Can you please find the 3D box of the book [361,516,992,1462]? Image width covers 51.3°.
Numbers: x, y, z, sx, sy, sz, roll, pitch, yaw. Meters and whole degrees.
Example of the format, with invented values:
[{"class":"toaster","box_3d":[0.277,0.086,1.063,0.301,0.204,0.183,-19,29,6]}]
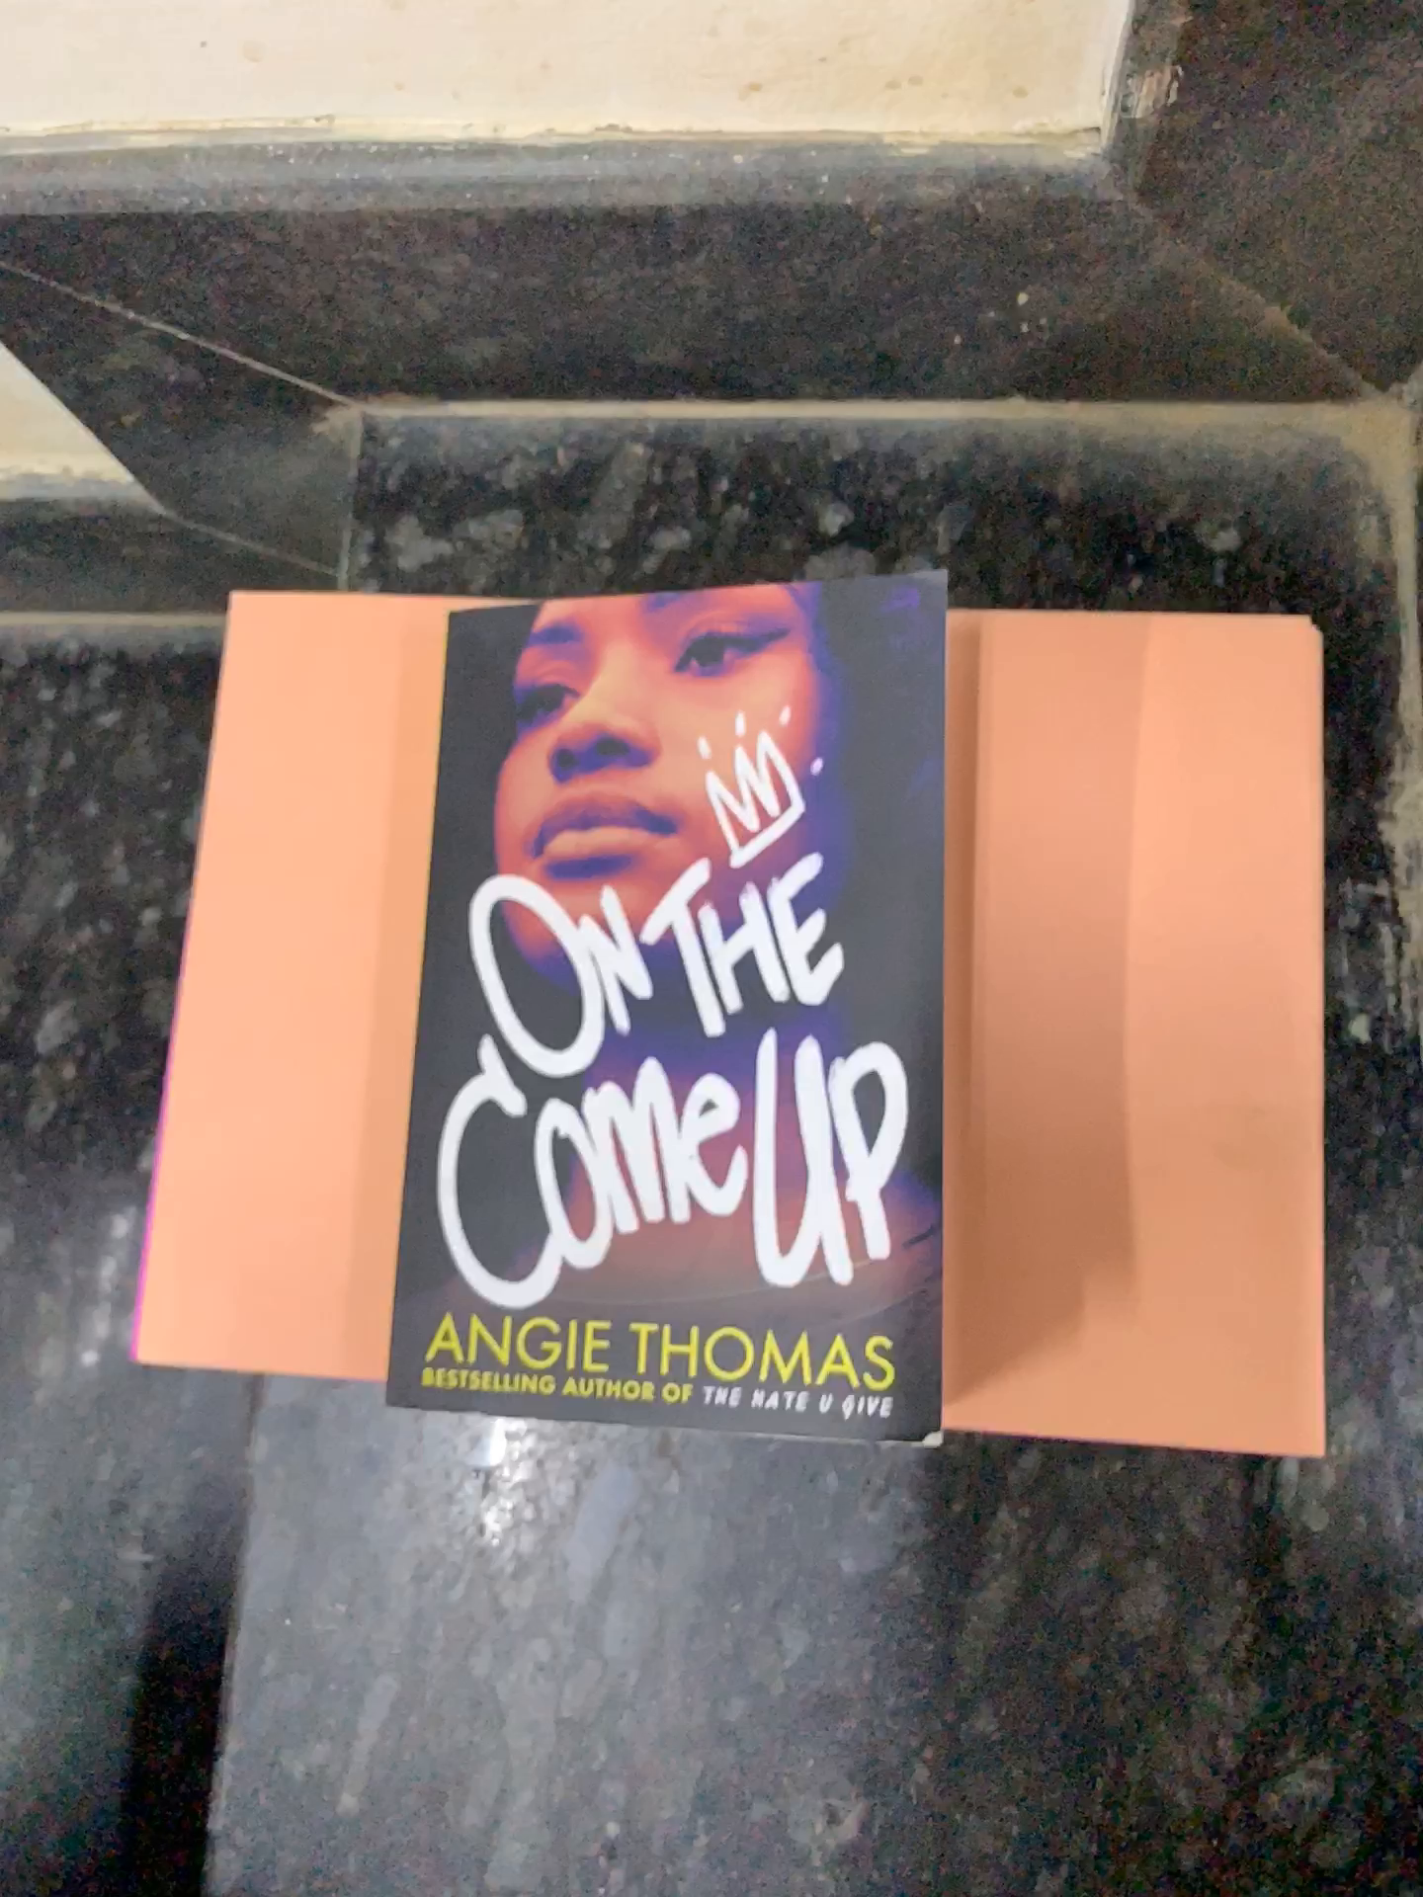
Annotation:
[{"class":"book","box_3d":[-0.003,0.006,0.339,0.130,0.040,0.200,0,78,10]}]
